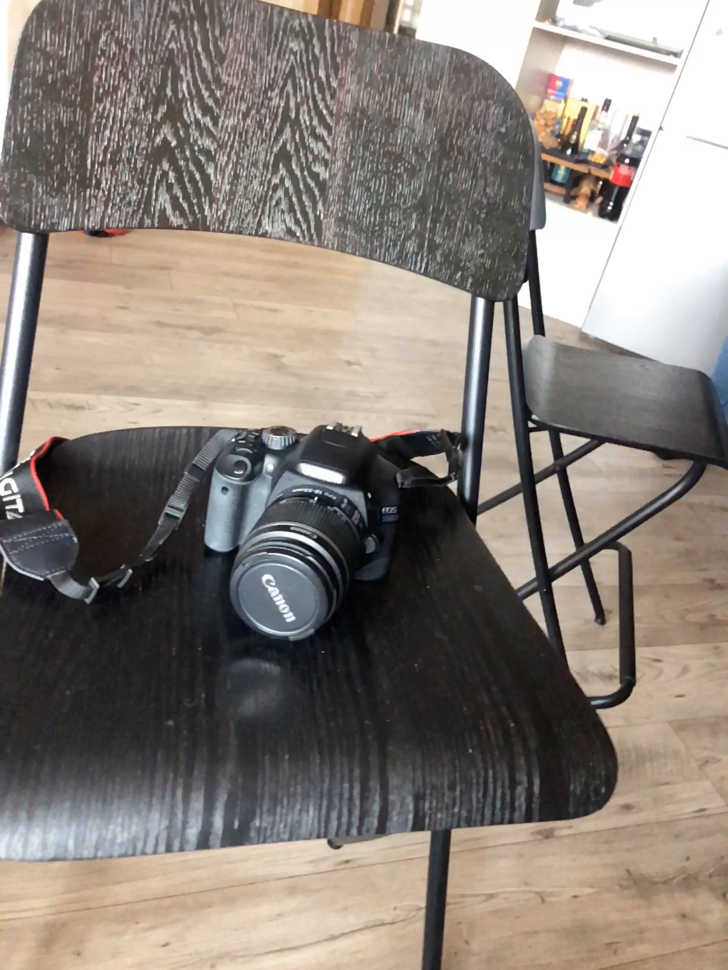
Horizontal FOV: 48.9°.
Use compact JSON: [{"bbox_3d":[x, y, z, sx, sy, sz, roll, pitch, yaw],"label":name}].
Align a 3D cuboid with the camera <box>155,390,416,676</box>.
[{"bbox_3d":[-0.045,0.024,0.516,0.120,0.092,0.141,16,31,3],"label":"camera"}]
